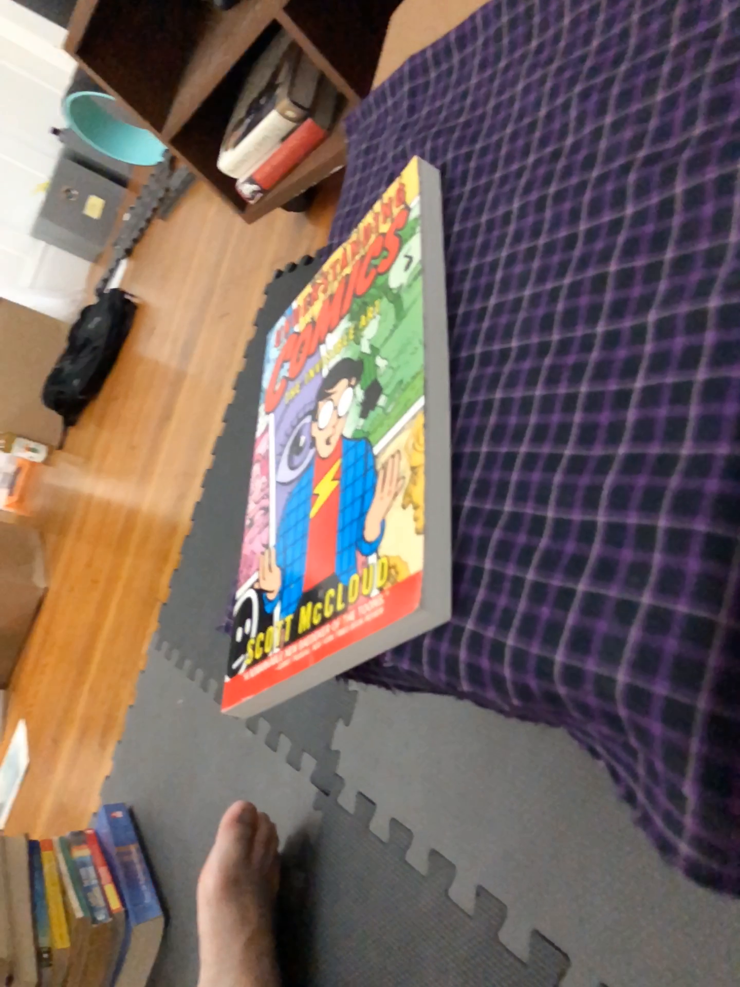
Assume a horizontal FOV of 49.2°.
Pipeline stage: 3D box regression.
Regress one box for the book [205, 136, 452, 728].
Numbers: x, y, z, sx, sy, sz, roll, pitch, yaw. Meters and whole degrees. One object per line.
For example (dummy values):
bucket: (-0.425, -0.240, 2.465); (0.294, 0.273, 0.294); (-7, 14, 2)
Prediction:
book: (-0.023, -0.034, 0.420); (0.170, 0.020, 0.271); (-36, 42, 46)
